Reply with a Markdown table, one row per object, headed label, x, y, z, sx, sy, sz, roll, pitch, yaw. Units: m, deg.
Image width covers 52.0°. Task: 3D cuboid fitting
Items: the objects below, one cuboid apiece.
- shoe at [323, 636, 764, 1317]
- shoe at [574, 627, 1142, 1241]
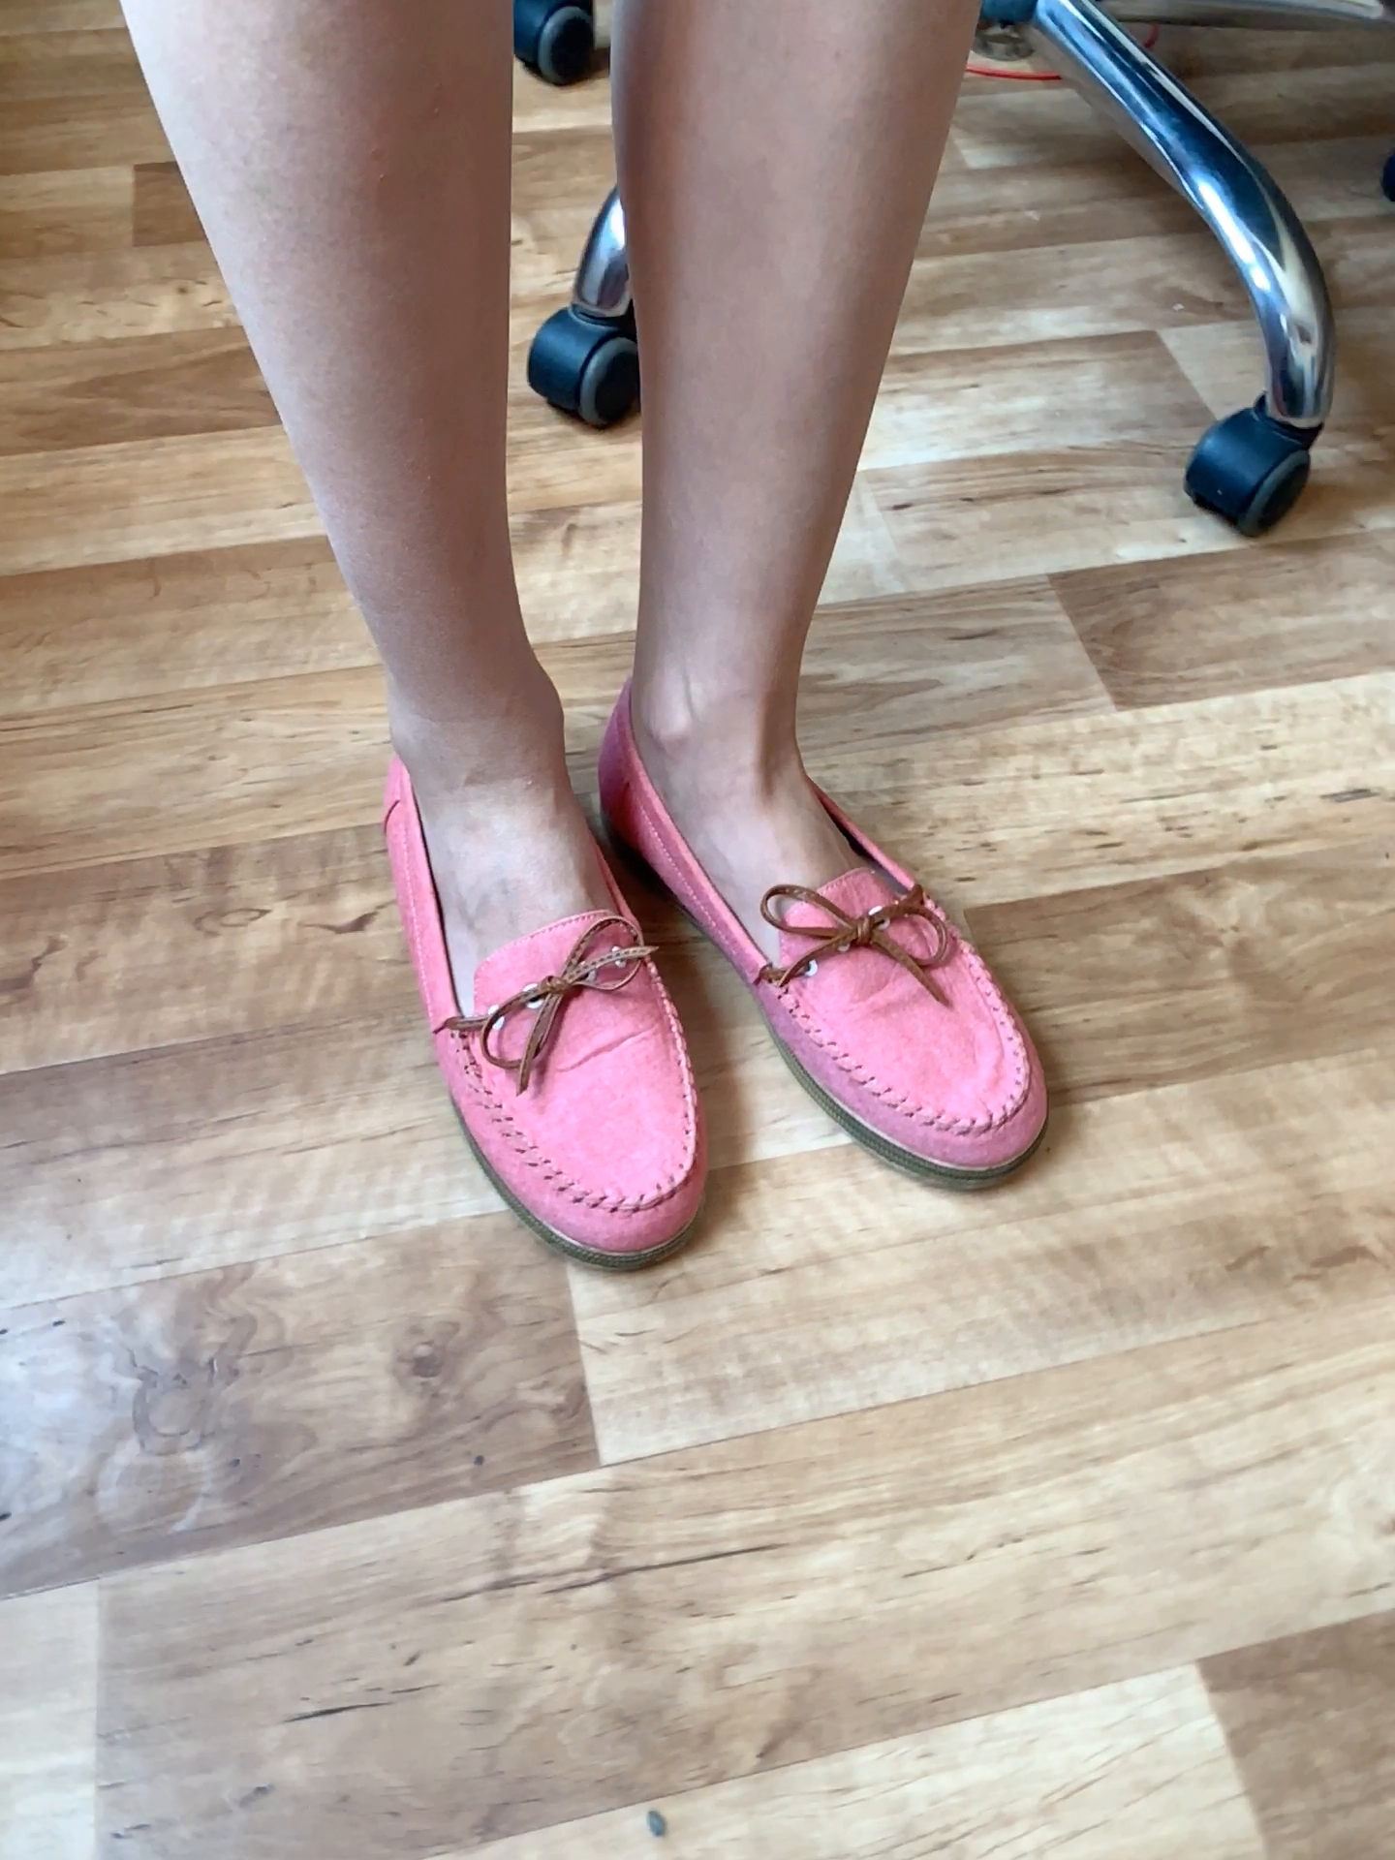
| label | x | y | z | sx | sy | sz | roll | pitch | yaw |
| --- | --- | --- | --- | --- | --- | --- | --- | --- | --- |
| shoe | -0.067 | 0.005 | 0.561 | 0.100 | 0.060 | 0.261 | -15 | 57 | -11 |
| shoe | 0.053 | -0.009 | 0.579 | 0.090 | 0.060 | 0.251 | -27 | 60 | -19 |
